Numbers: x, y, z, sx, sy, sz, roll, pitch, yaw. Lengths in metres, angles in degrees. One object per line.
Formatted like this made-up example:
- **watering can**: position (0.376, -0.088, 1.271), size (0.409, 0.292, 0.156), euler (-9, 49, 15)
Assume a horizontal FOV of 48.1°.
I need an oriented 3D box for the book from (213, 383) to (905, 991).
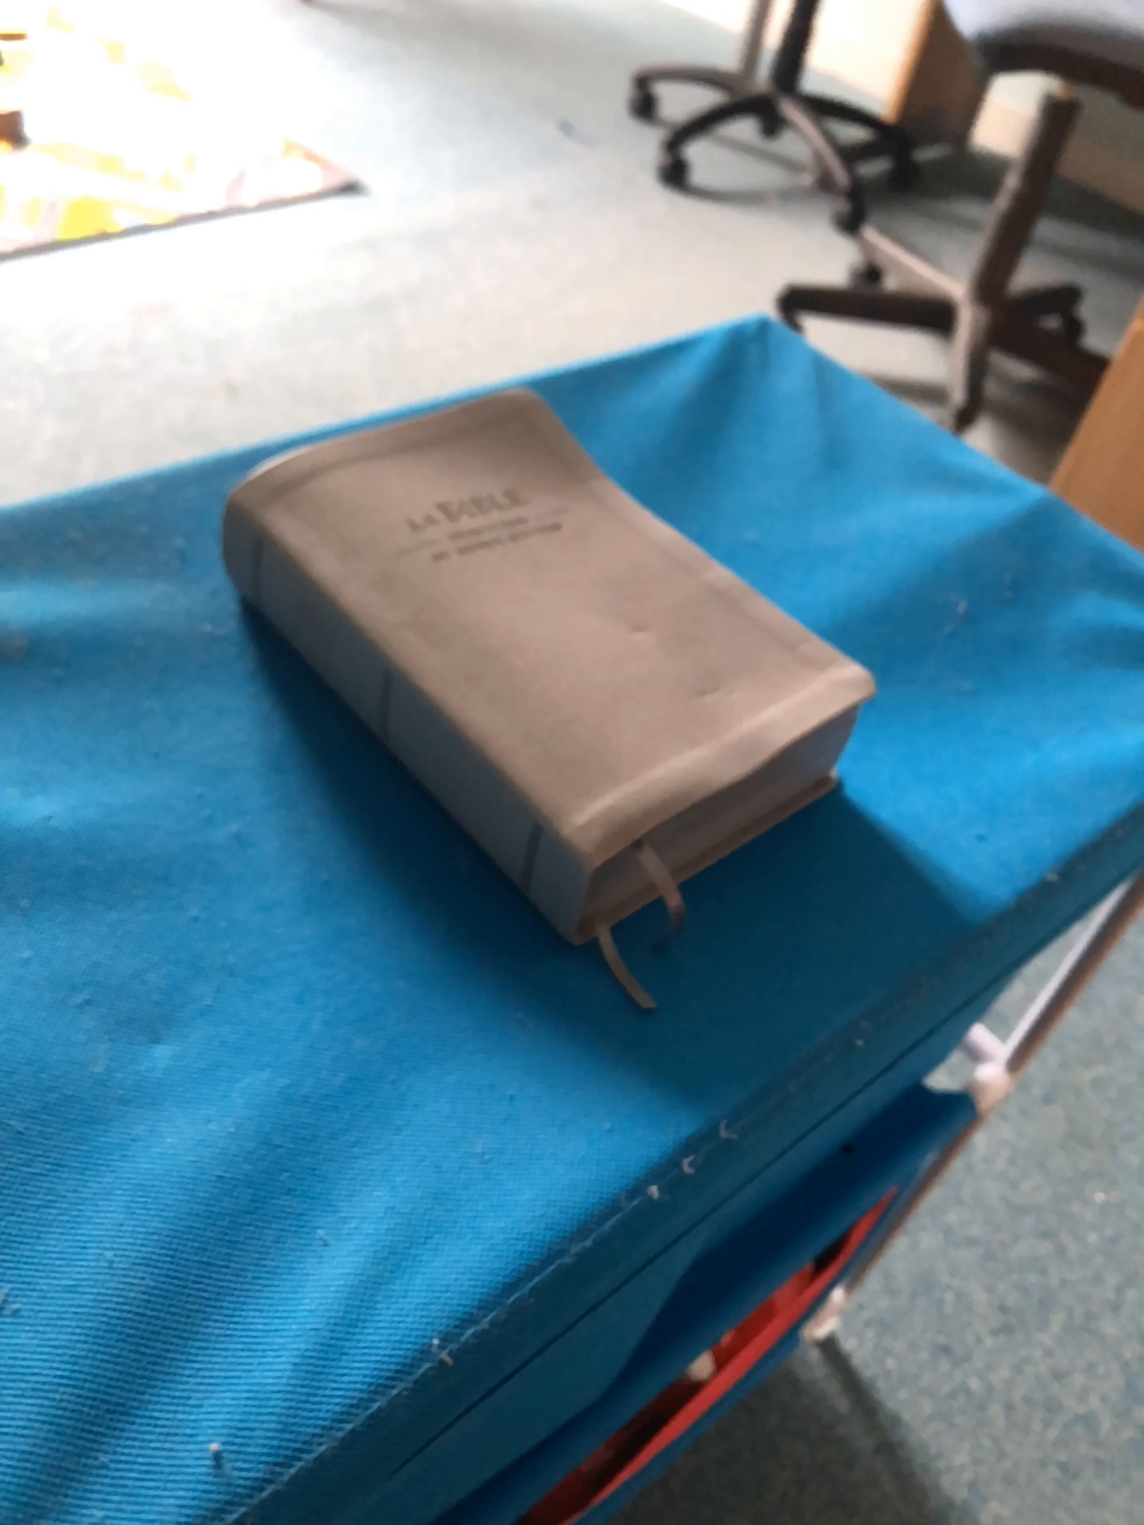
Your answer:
- **book**: position (-0.010, -0.036, 0.400), size (0.122, 0.051, 0.180), euler (-28, 59, -33)
